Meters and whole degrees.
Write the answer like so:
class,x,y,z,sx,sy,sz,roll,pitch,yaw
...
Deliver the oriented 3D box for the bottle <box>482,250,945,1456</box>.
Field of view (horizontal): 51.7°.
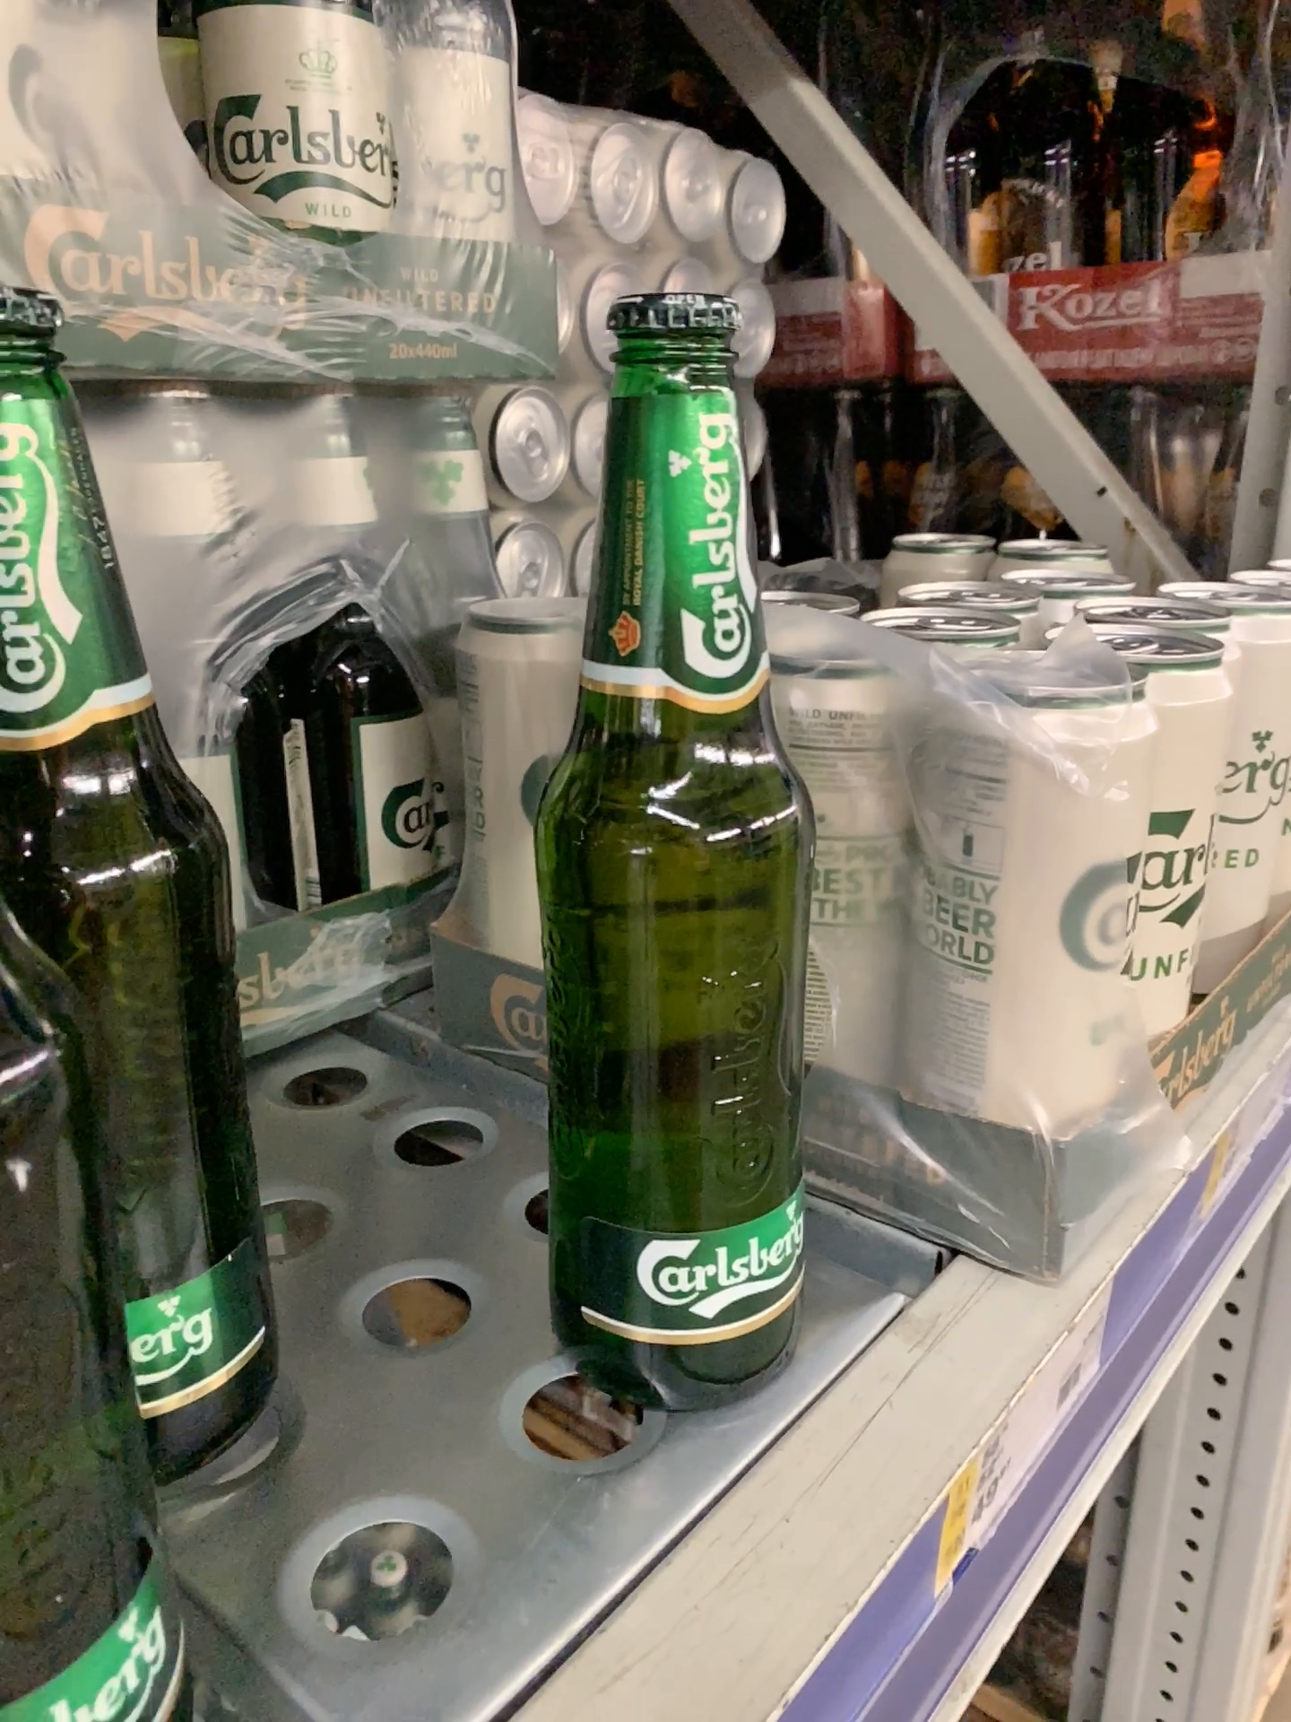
class,x,y,z,sx,sy,sz,roll,pitch,yaw
bottle,0.014,0.001,0.306,0.072,0.249,0.060,-15,23,-38
